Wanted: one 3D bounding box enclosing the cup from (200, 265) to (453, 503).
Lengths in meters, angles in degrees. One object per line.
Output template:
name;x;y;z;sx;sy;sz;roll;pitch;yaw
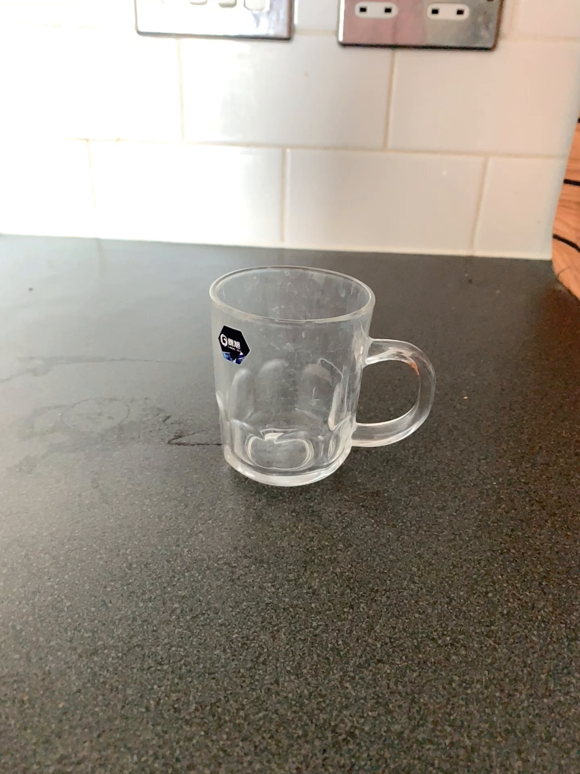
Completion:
cup;0.012;-0.004;0.289;0.100;0.090;0.071;0;27;-4
